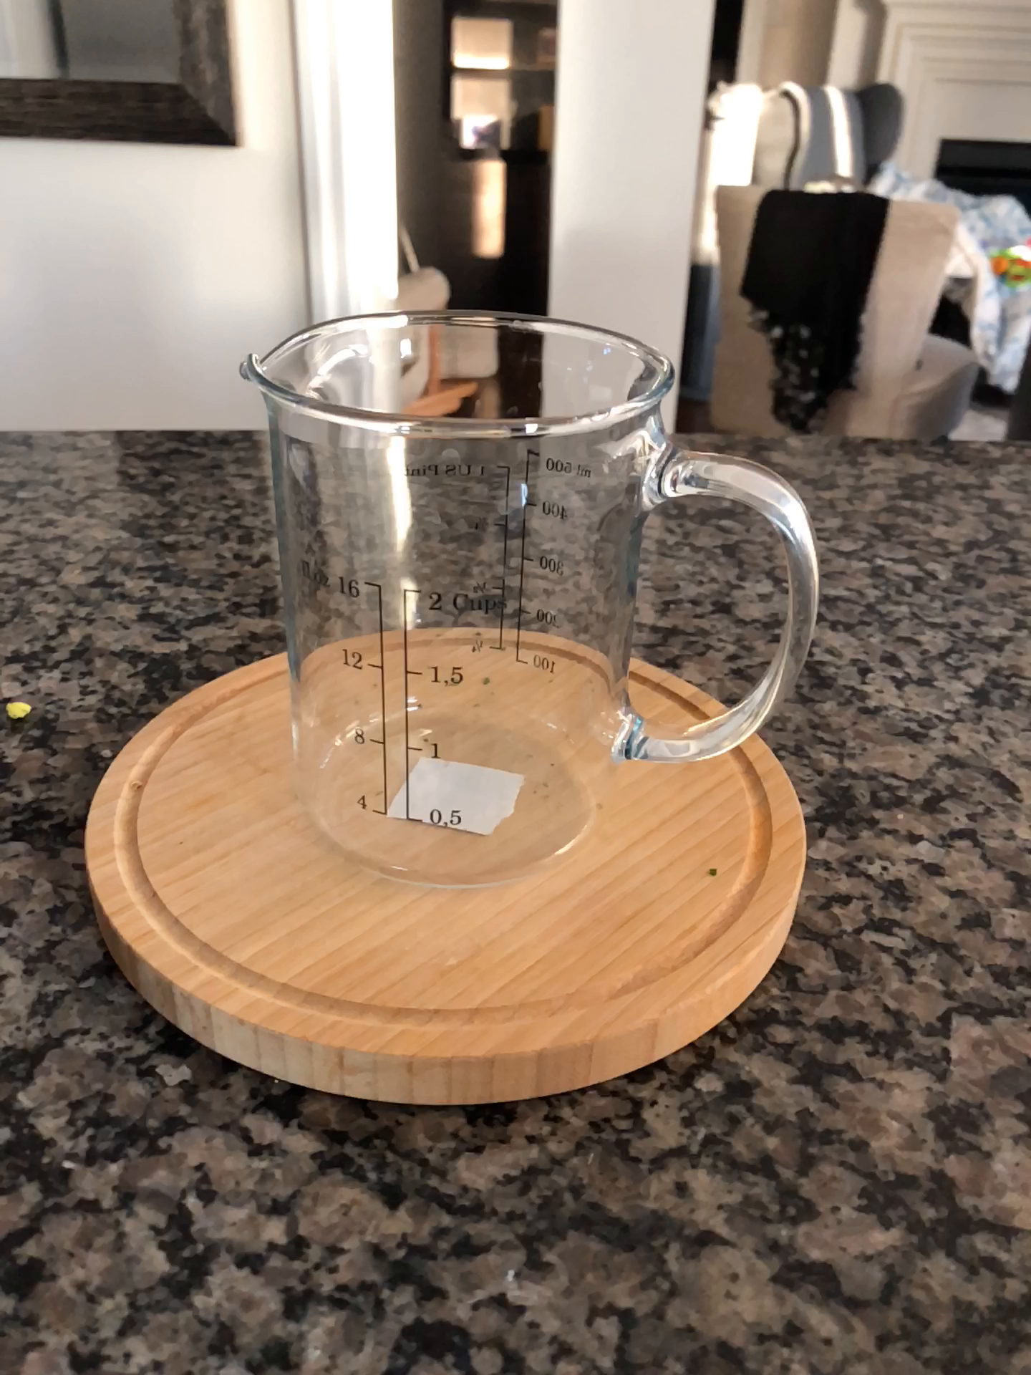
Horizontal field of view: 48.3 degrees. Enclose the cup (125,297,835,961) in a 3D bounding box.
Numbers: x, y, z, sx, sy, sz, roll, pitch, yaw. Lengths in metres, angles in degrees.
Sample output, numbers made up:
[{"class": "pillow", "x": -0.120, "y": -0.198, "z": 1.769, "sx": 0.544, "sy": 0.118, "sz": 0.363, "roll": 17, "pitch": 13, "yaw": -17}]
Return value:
[{"class": "cup", "x": -0.001, "y": -0.024, "z": 0.311, "sx": 0.150, "sy": 0.128, "sz": 0.106, "roll": 8, "pitch": 30, "yaw": 11}]
